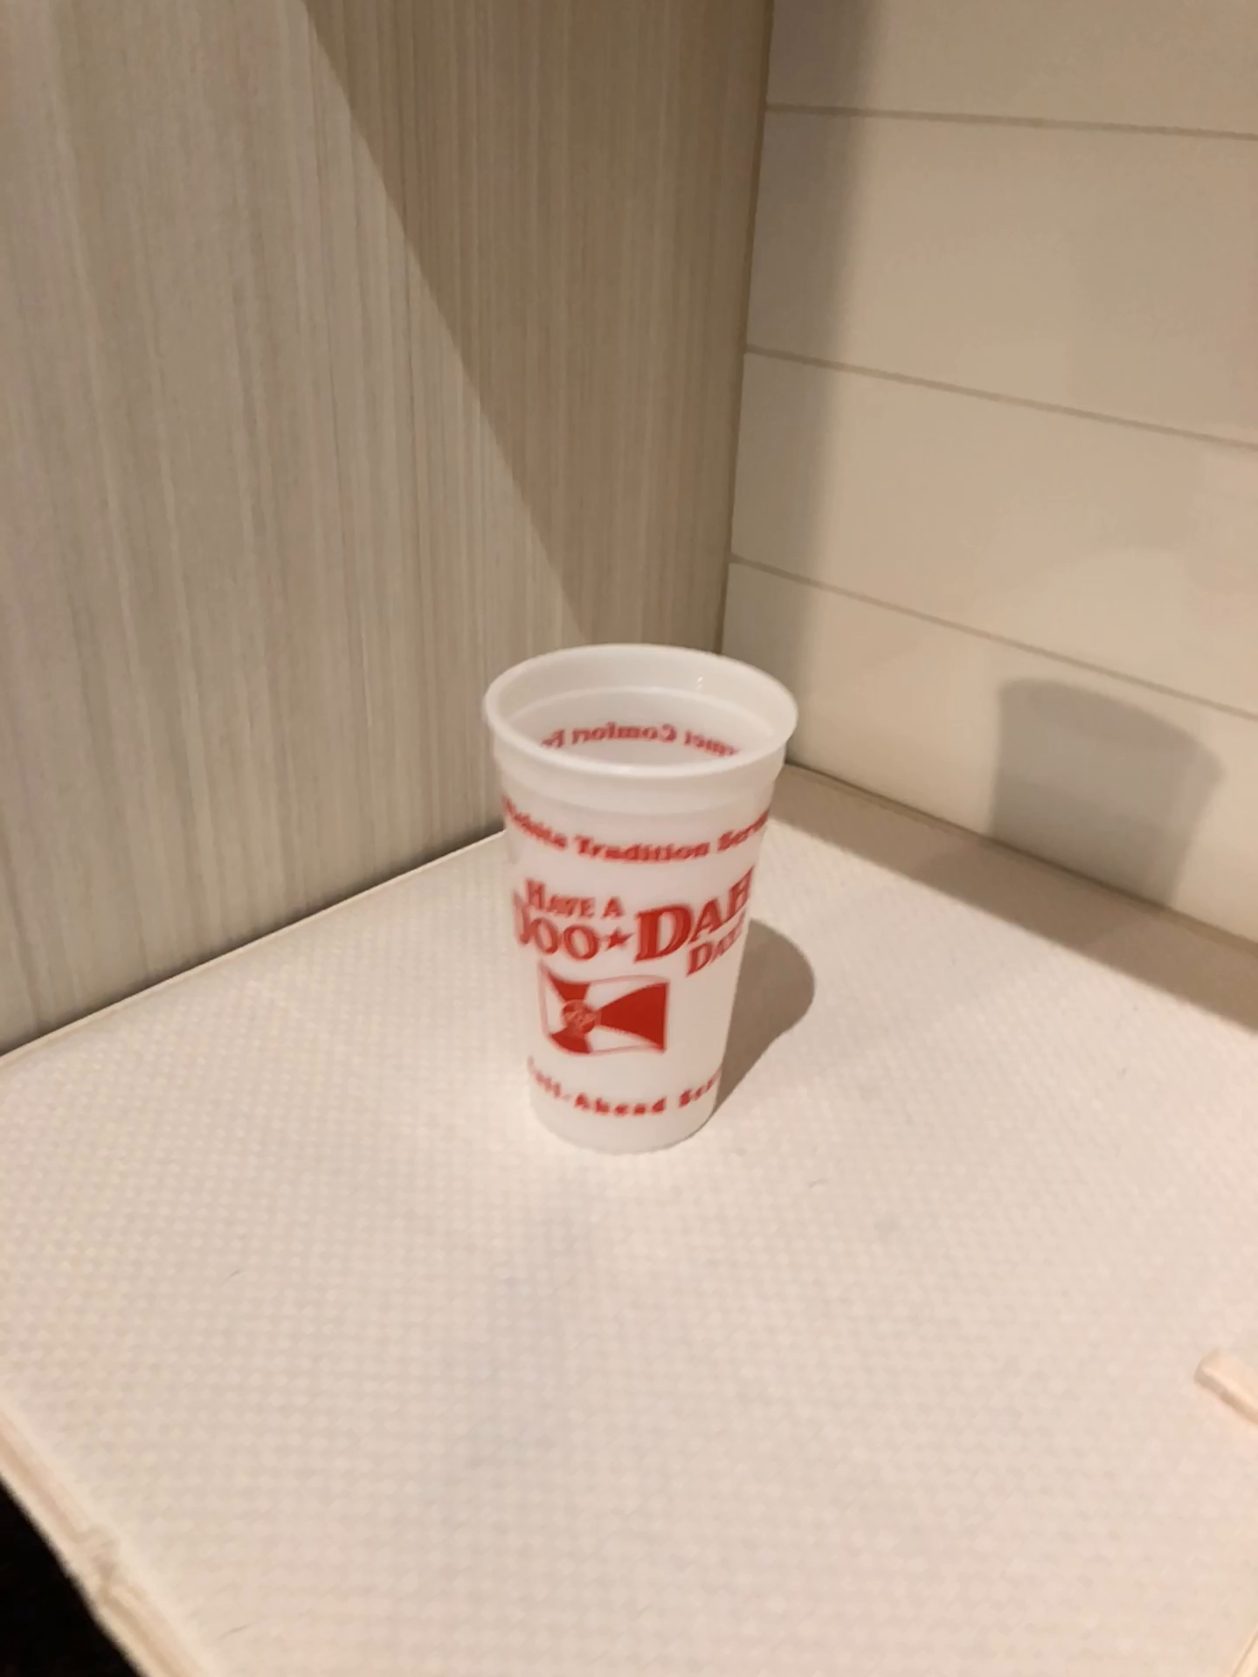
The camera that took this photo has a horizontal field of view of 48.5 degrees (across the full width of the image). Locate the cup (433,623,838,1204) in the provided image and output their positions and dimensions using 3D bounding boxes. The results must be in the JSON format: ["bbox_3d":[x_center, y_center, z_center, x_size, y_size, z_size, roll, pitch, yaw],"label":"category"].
[{"bbox_3d":[0.004,0.020,0.446,0.100,0.139,0.100,2,29,-1],"label":"cup"}]
